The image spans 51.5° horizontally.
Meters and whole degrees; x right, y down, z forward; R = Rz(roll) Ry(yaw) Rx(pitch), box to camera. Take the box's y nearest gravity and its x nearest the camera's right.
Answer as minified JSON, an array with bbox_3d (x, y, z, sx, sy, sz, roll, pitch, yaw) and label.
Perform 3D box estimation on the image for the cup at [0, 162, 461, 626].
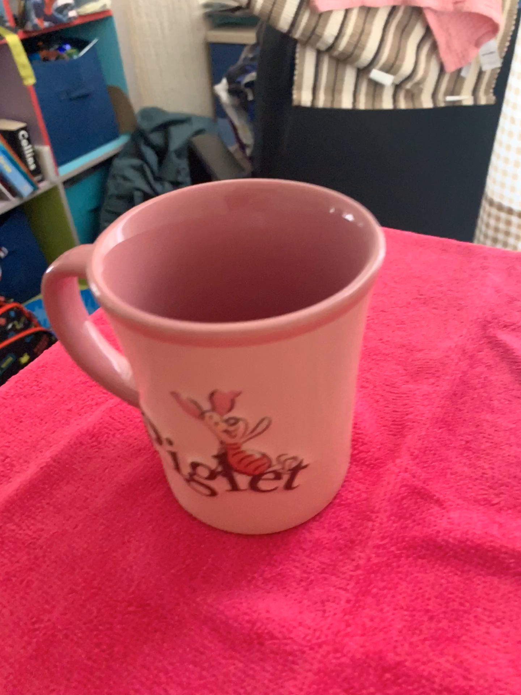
[{"bbox_3d":[-0.010,0.008,0.199,0.130,0.109,0.091,14,43,21],"label":"cup"}]
